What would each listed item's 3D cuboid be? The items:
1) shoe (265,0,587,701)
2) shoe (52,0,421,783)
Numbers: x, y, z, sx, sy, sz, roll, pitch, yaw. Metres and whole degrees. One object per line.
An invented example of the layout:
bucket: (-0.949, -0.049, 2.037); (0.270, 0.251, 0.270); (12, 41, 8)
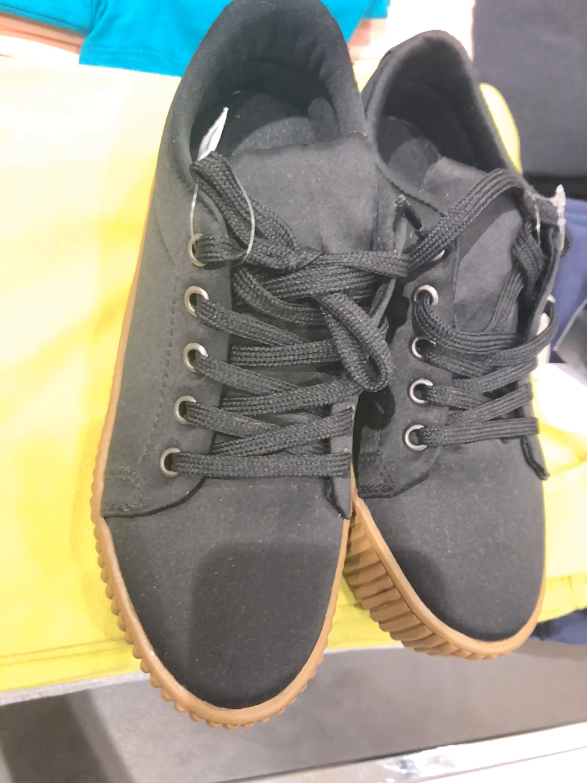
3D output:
shoe: (0.053, -0.025, 0.256); (0.090, 0.080, 0.240); (0, 77, -21)
shoe: (-0.025, -0.014, 0.220); (0.090, 0.080, 0.230); (4, 76, -20)
